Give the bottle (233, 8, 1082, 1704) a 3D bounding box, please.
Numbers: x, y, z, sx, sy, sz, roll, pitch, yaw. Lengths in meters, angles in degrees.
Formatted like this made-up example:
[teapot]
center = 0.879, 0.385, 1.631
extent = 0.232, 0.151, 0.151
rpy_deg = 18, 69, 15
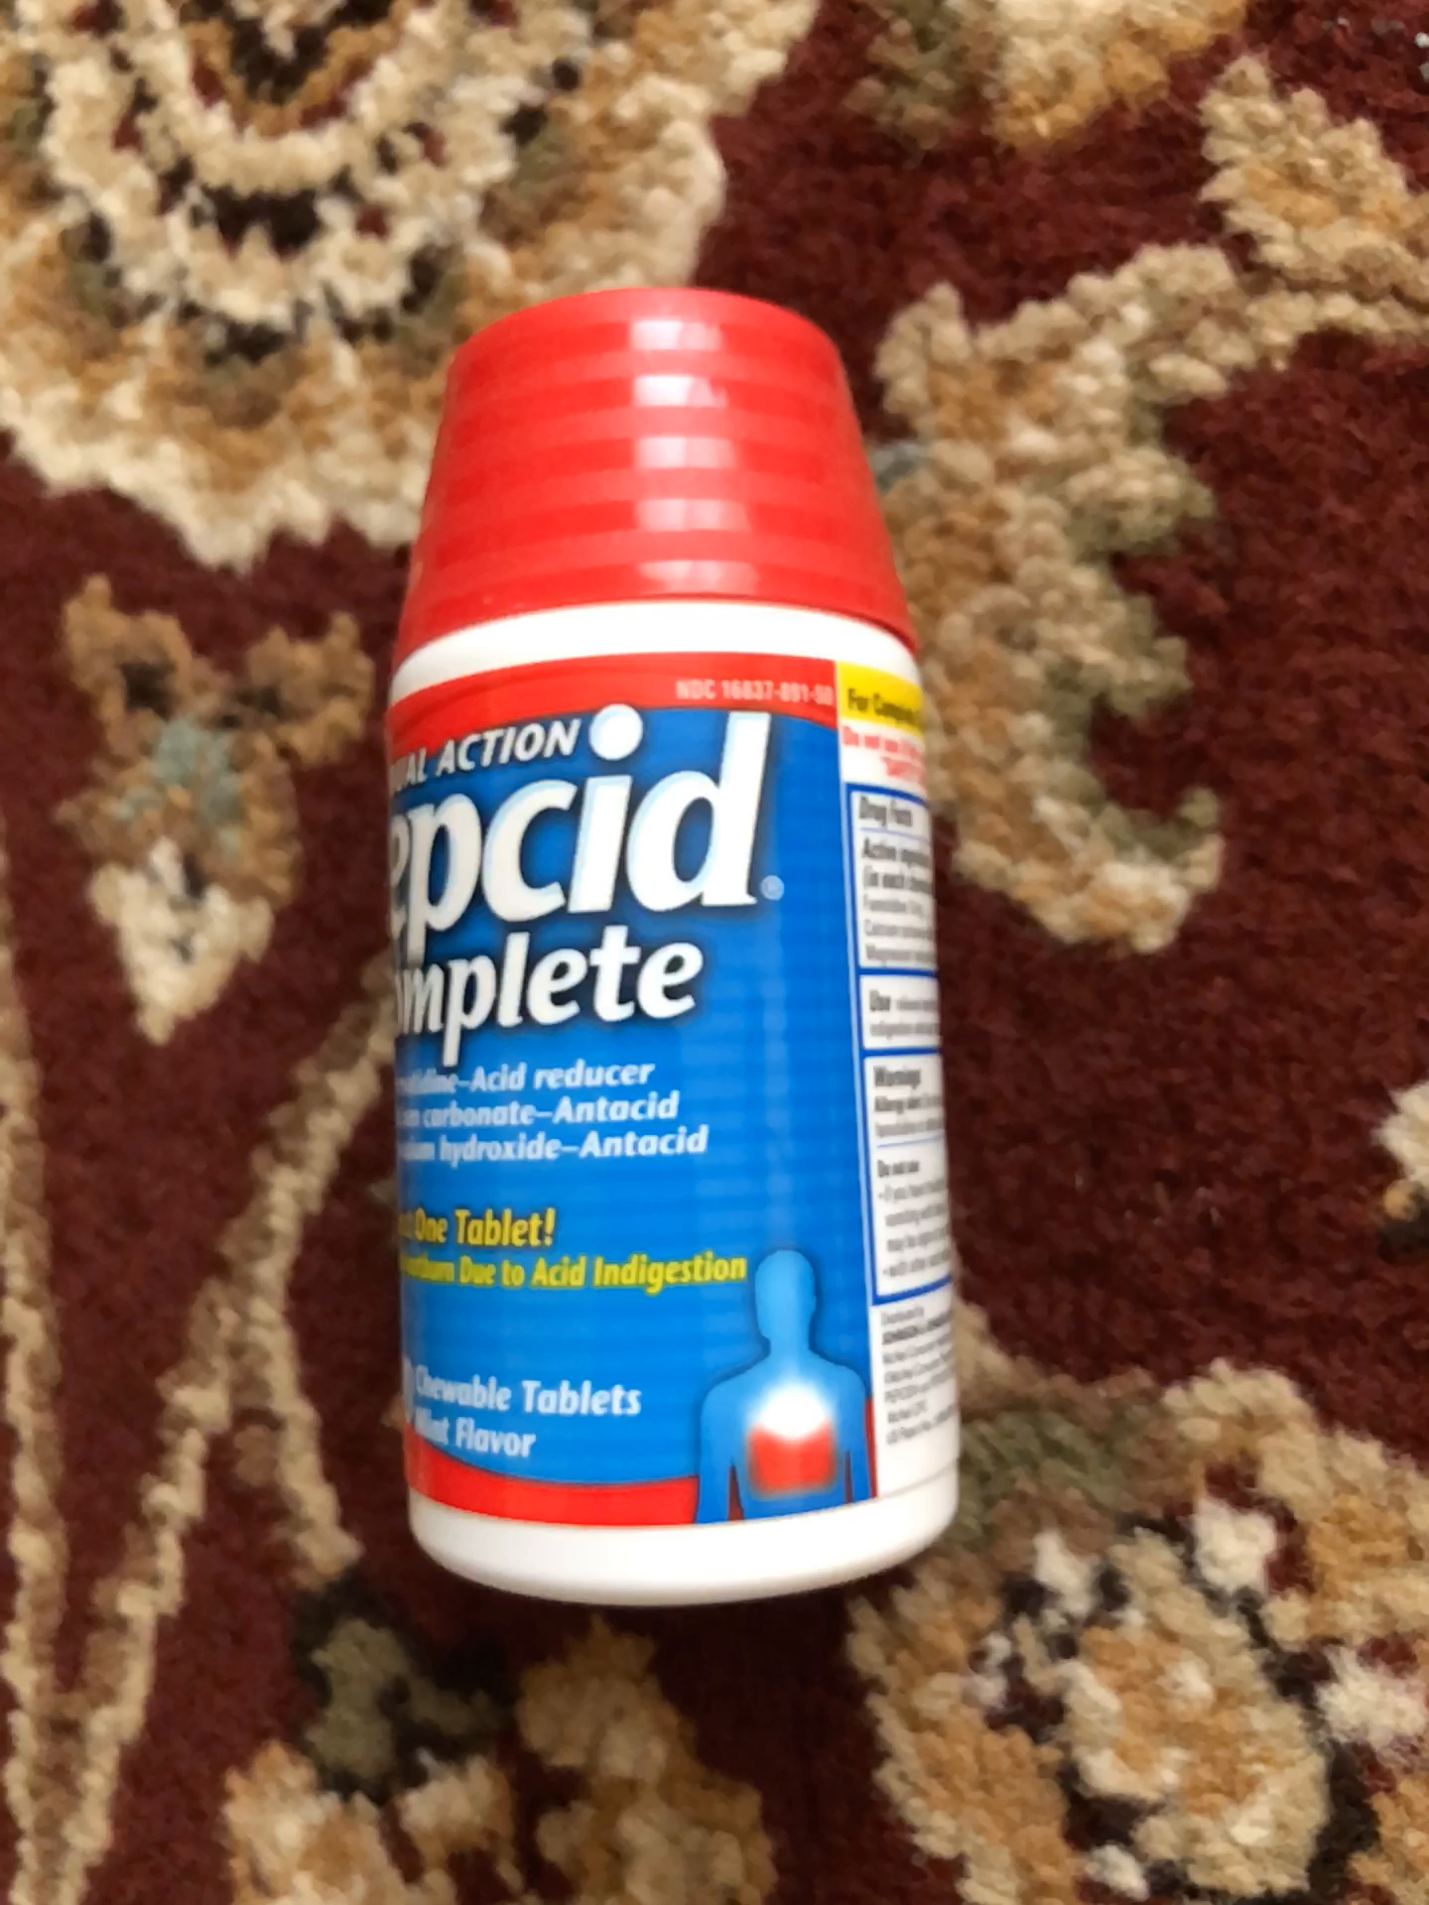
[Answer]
[bottle]
center = -0.007, -0.007, 0.167
extent = 0.060, 0.060, 0.130
rpy_deg = -4, 86, 44
